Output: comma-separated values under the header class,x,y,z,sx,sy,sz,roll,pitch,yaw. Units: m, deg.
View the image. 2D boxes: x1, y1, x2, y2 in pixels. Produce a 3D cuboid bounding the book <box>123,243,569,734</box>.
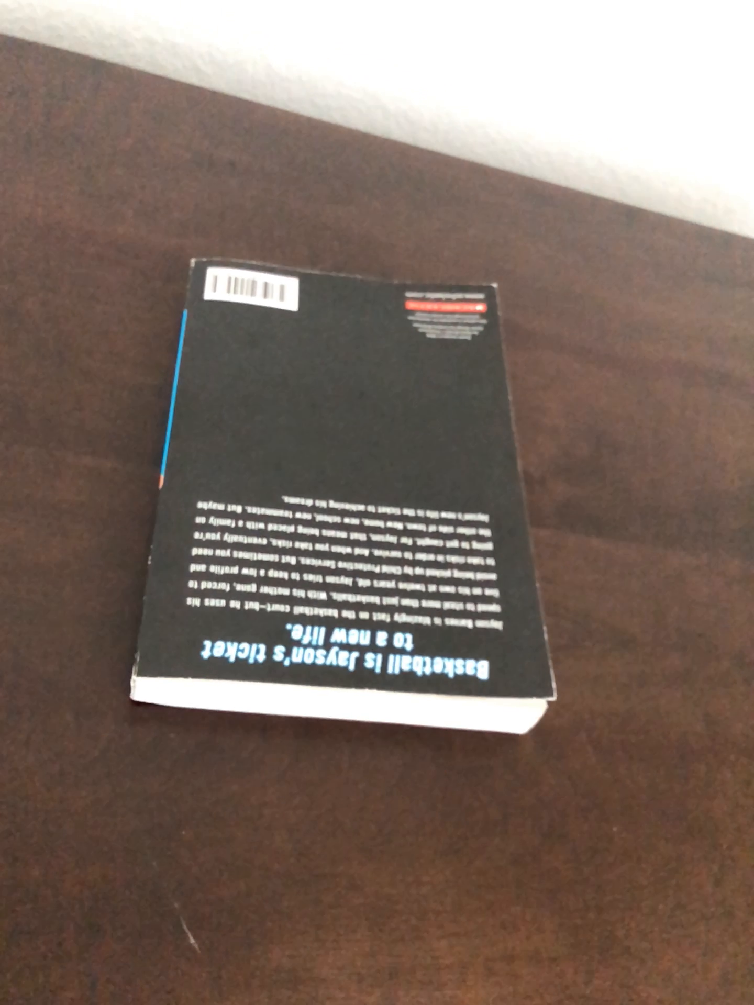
class,x,y,z,sx,sy,sz,roll,pitch,yaw
book,-0.012,-0.014,0.334,0.140,0.036,0.198,6,53,-11
